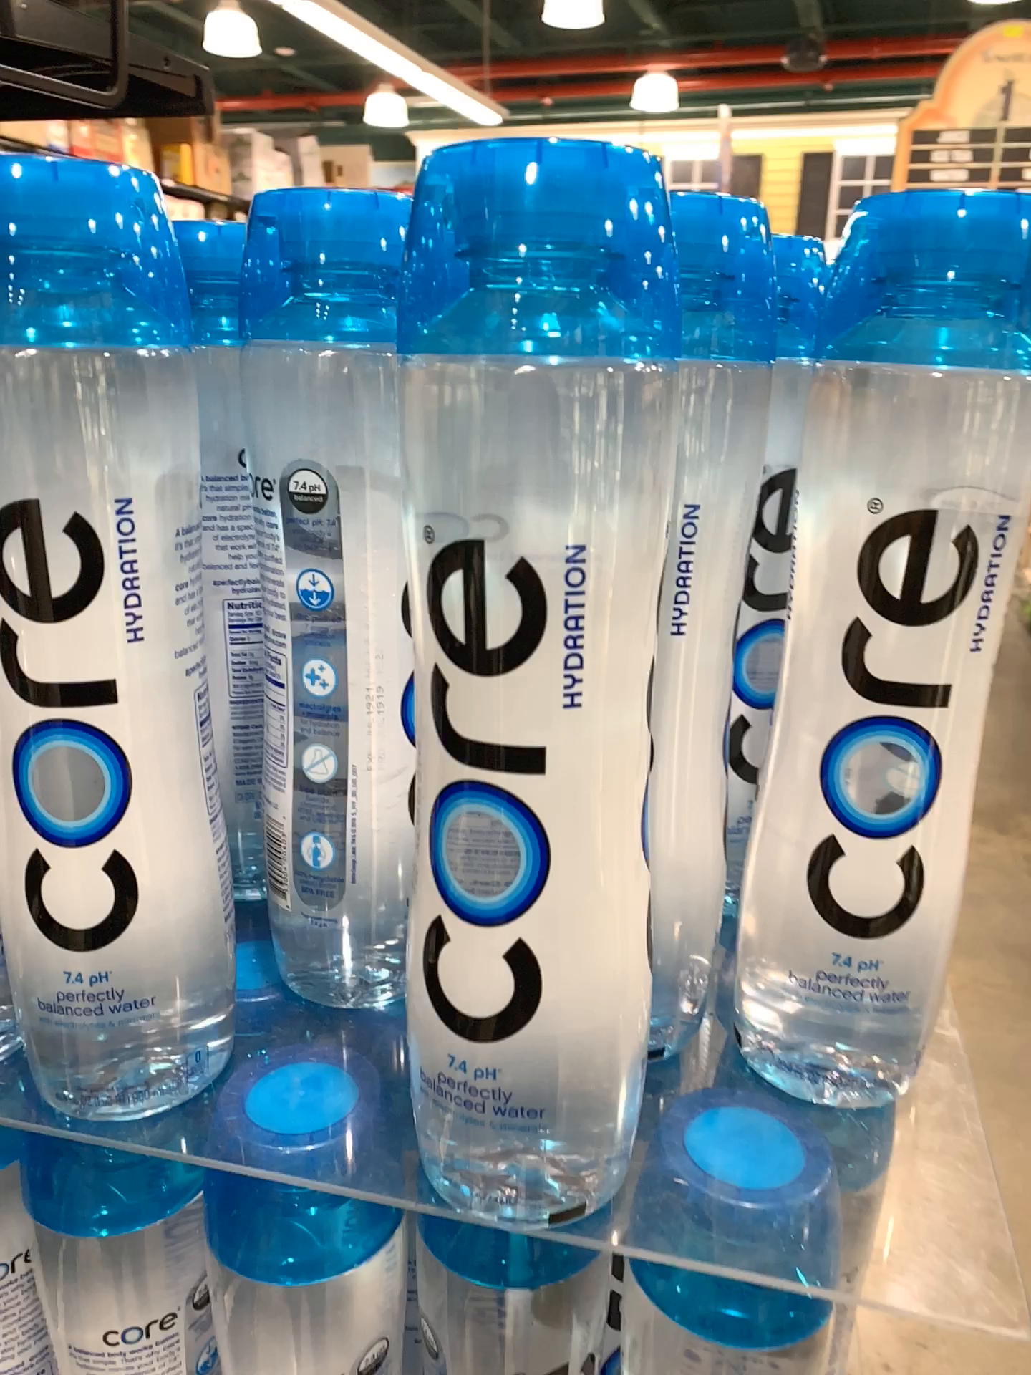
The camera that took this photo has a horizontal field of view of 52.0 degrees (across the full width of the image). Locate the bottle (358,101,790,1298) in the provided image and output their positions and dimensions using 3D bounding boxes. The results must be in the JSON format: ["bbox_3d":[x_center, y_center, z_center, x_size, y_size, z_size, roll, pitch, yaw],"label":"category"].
[{"bbox_3d":[0.015,0.008,0.299,0.080,0.289,0.090,8,18,21],"label":"bottle"}]
